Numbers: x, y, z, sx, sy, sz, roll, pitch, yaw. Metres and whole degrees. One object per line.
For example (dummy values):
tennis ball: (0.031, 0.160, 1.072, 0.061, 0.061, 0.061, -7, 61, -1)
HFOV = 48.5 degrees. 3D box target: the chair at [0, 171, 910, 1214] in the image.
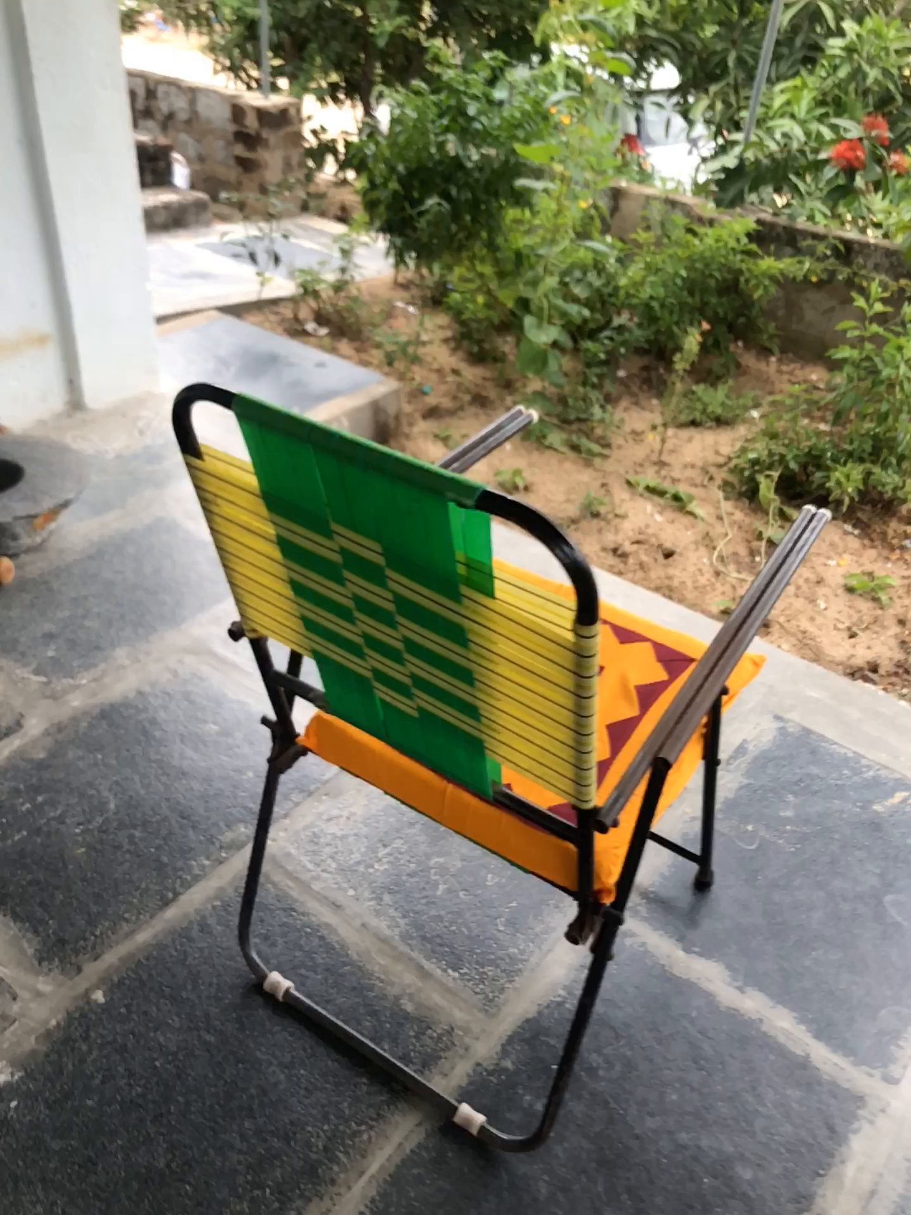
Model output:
chair: (0.061, 0.046, 1.174, 0.660, 0.825, 0.684, 23, 40, 25)
